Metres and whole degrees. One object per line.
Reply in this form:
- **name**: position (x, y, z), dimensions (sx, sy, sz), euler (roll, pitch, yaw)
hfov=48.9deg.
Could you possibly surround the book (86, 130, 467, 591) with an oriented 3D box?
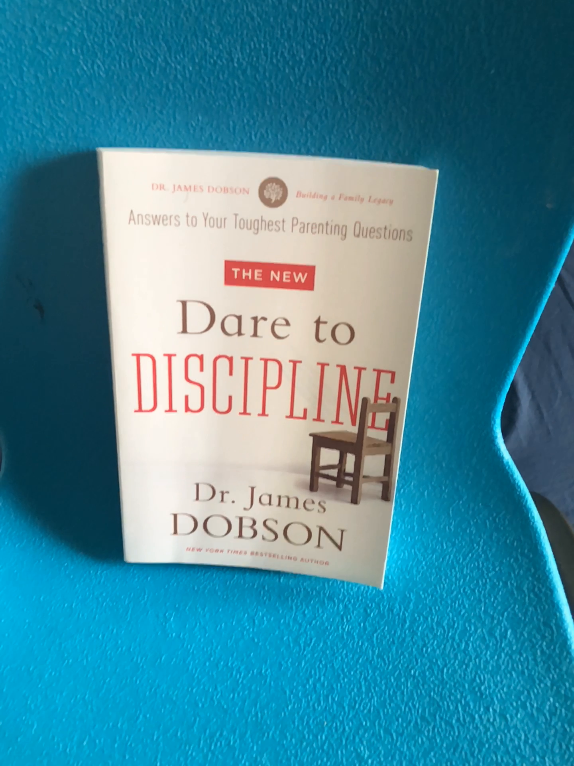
- **book**: position (-0.010, -0.006, 0.298), dimensions (0.150, 0.199, 0.040), euler (5, 18, 3)
